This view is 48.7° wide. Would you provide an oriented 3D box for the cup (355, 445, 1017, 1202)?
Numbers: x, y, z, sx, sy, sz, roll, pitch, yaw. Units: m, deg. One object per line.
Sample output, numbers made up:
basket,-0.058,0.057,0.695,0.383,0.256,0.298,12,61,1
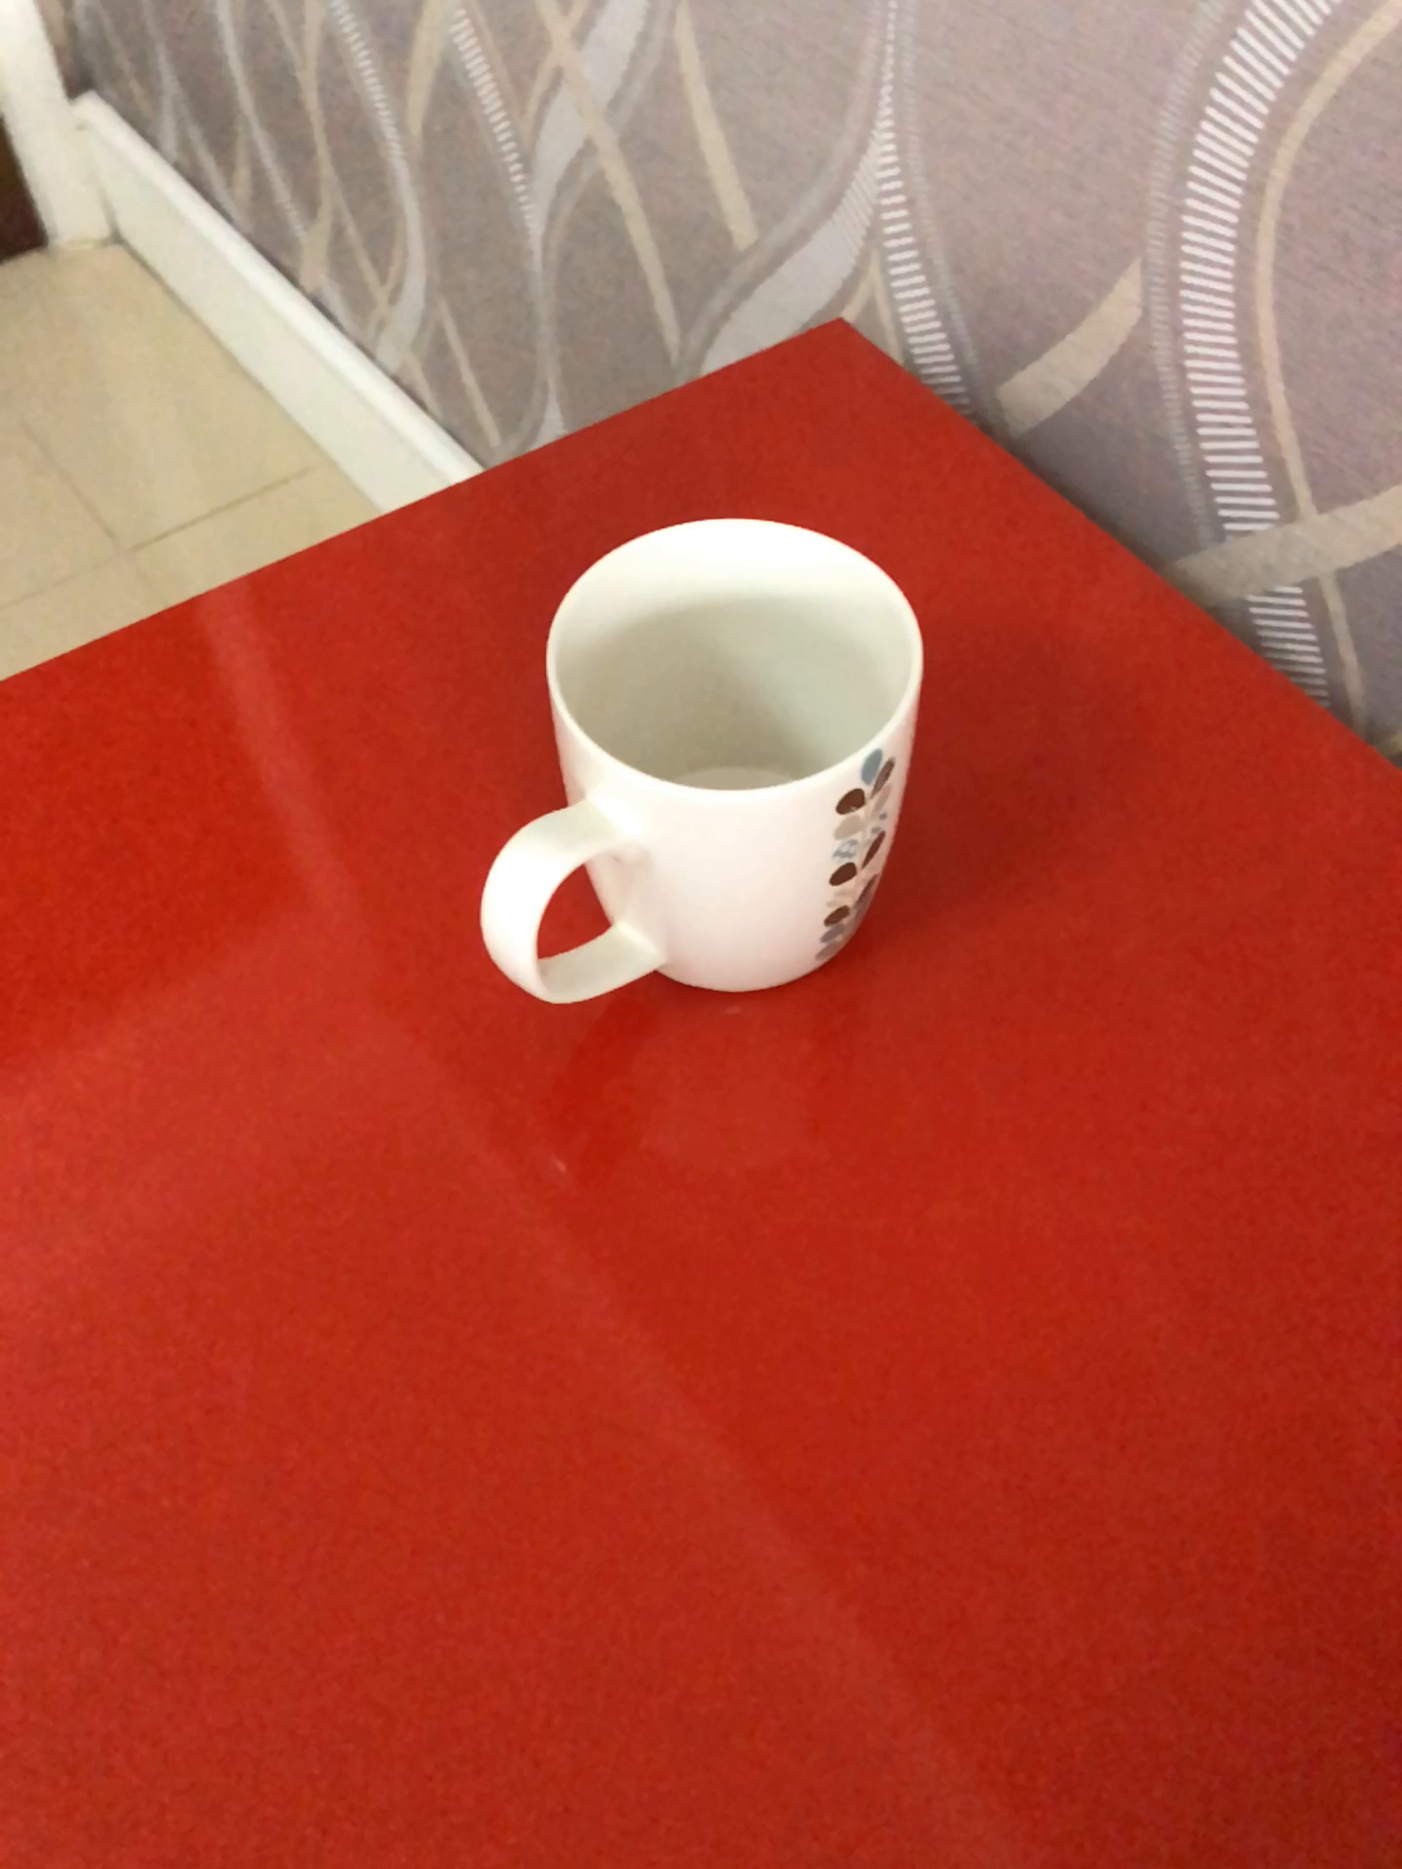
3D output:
cup,0.000,-0.027,0.393,0.090,0.119,0.120,35,63,23
